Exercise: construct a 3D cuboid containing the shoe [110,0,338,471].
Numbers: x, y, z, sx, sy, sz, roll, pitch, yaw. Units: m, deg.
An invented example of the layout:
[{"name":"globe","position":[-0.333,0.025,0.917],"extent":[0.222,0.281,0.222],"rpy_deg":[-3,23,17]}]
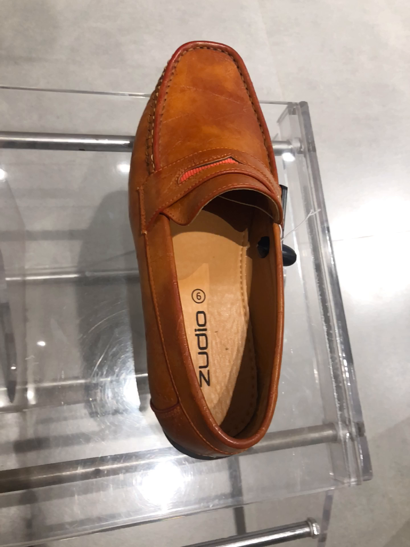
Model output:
[{"name":"shoe","position":[-0.003,-0.039,0.300],"extent":[0.110,0.090,0.290],"rpy_deg":[0,75,-14]}]
